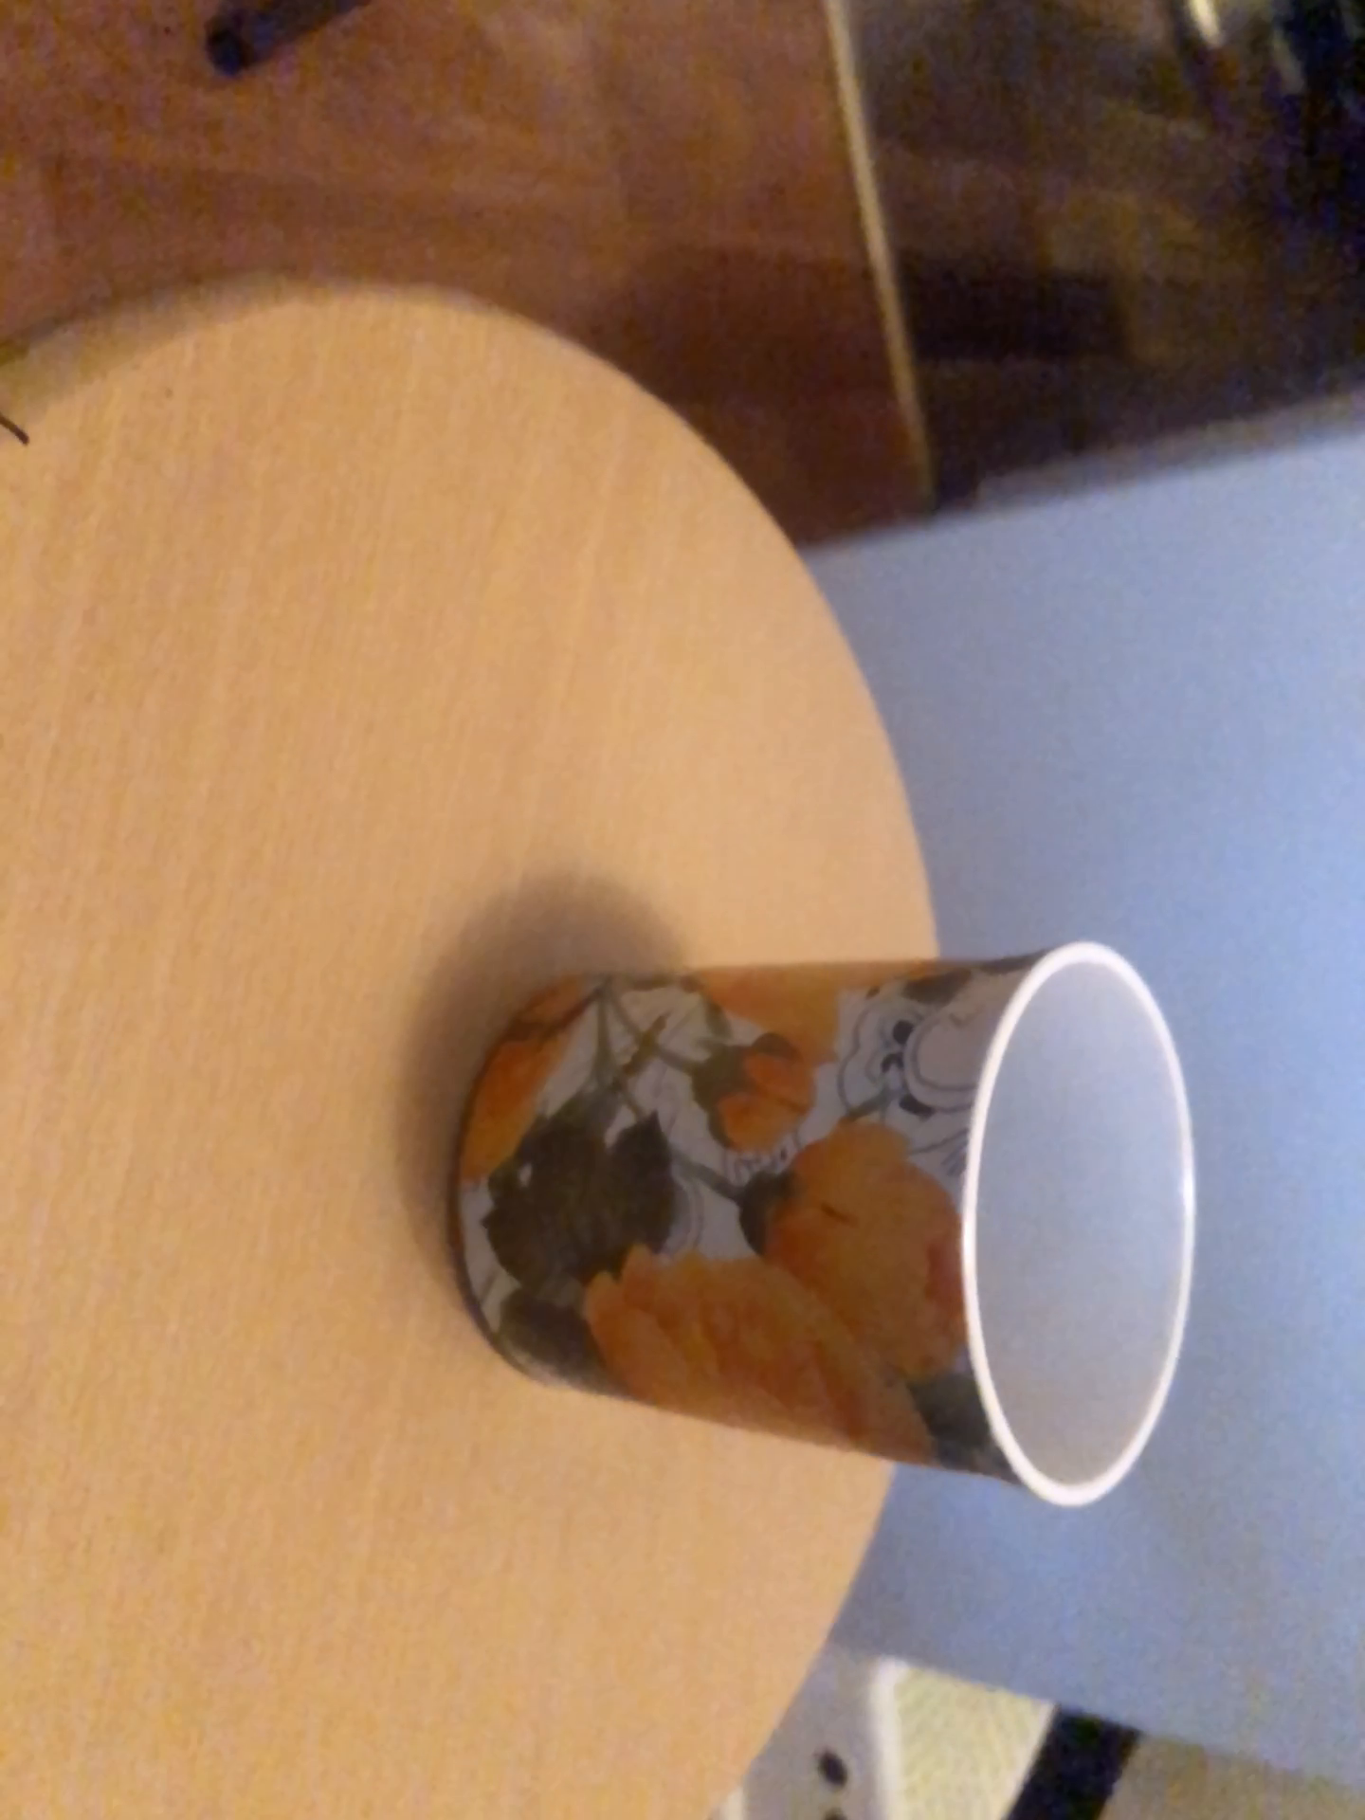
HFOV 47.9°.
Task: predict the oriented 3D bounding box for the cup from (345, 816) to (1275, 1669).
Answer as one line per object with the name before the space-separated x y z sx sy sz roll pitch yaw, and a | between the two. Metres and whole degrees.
cup | 0.029 0.056 0.261 0.111 0.097 0.082 51 49 -36
